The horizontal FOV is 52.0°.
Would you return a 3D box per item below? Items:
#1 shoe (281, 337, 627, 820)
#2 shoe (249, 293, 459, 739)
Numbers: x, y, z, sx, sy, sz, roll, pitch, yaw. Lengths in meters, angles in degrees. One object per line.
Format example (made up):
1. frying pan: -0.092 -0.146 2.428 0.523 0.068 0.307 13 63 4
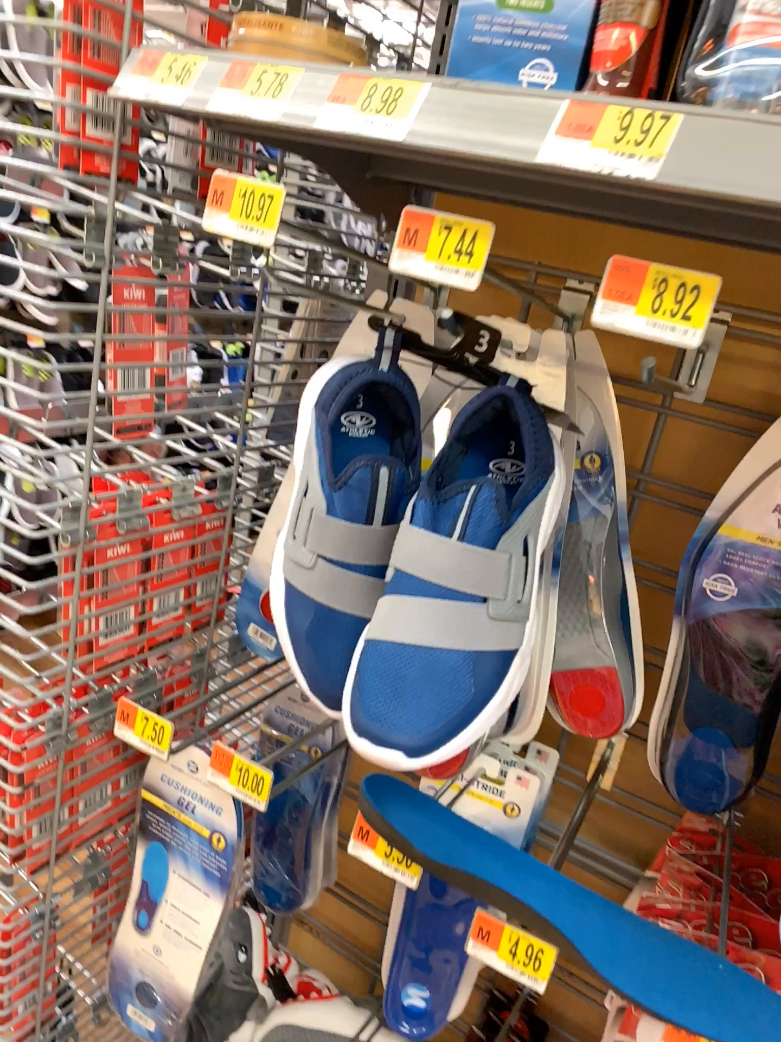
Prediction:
1. shoe: 0.045 0.029 0.451 0.101 0.233 0.098 17 -20 17
2. shoe: -0.025 0.001 0.500 0.095 0.246 0.098 7 -10 -10
